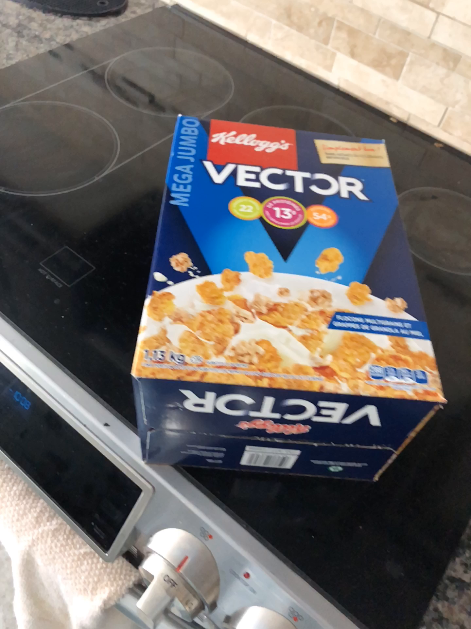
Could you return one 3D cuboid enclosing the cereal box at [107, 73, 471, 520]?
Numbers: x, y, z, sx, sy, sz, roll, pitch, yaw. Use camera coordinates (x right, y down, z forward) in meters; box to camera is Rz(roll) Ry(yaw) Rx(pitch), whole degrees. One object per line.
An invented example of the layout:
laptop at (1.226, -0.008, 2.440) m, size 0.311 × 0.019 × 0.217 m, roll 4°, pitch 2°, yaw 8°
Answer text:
cereal box at (0.039, -0.018, 0.440) m, size 0.220 × 0.170 × 0.311 m, roll 6°, pitch 56°, yaw -4°
